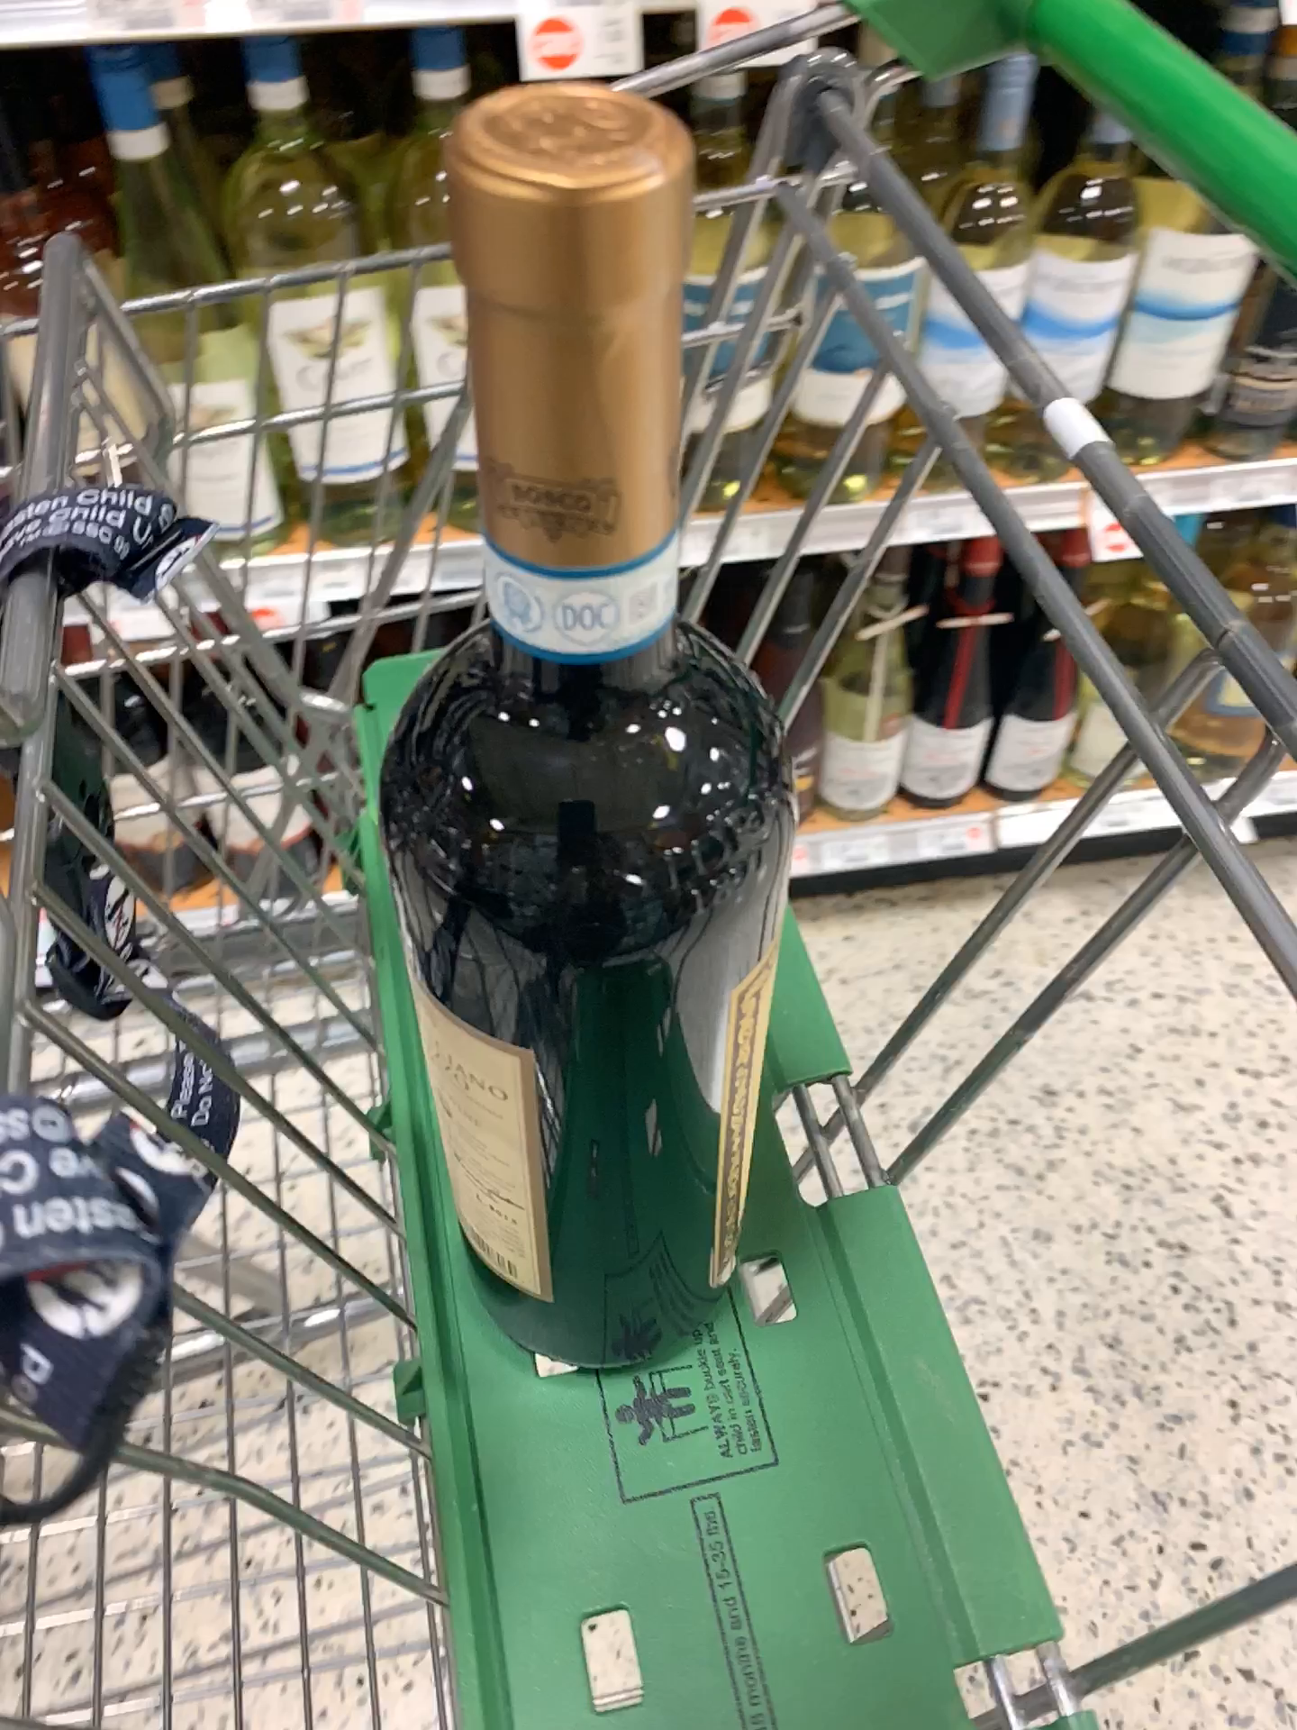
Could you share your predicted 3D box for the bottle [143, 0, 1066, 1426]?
[{"bbox_3d":[-0.009,0.008,0.260,0.080,0.277,0.081,0,50,0],"label":"bottle"}]
